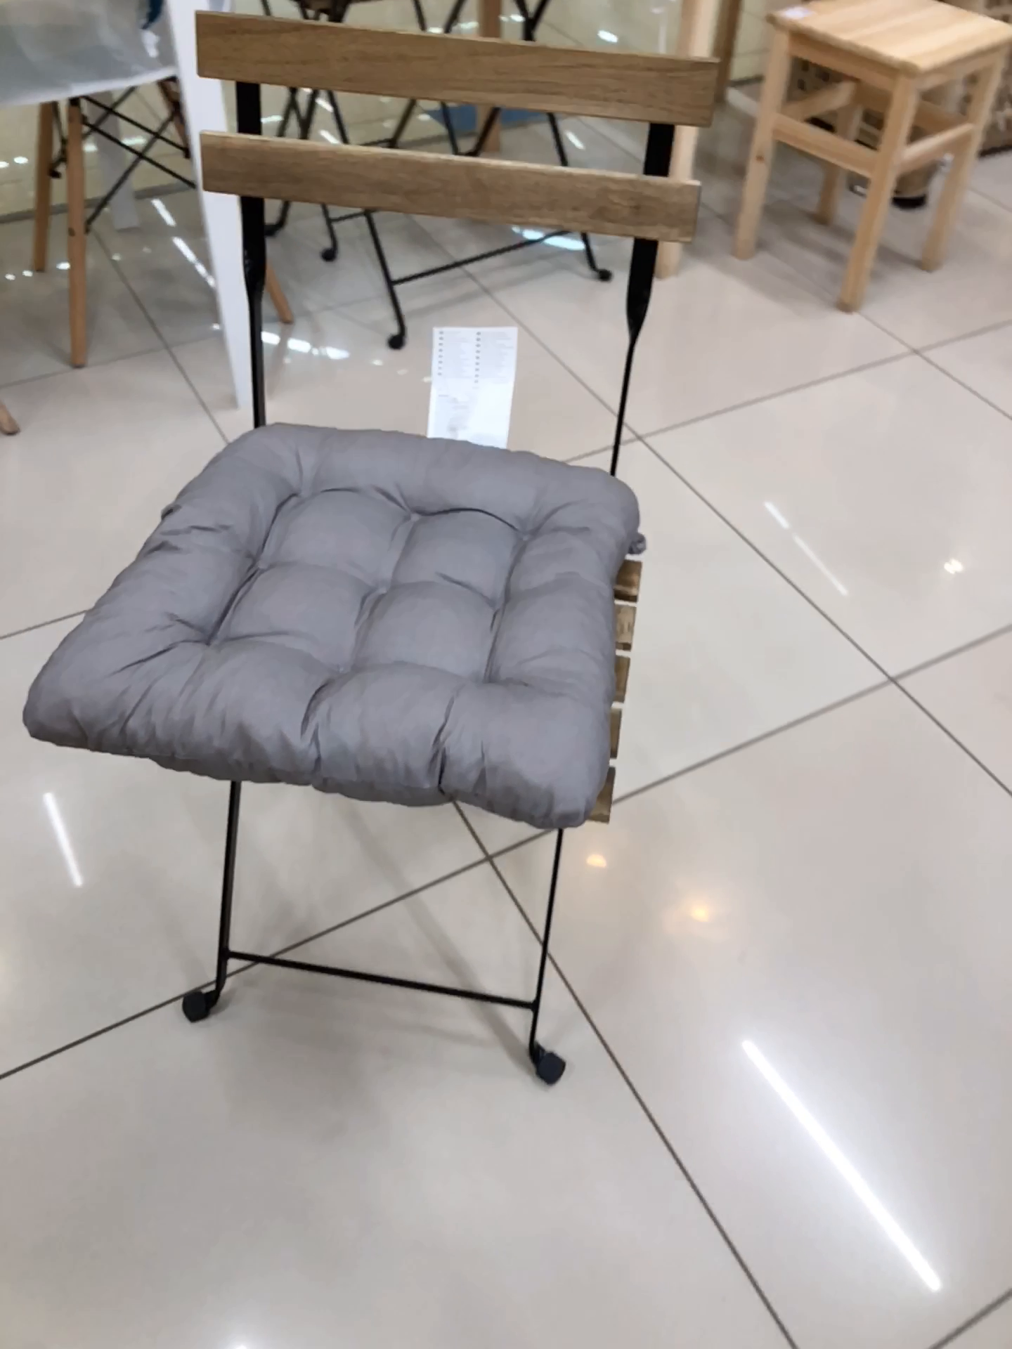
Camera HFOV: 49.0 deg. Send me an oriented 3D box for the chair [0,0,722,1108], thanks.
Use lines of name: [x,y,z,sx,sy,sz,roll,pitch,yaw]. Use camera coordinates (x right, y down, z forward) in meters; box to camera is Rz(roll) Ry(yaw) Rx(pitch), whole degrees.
chair: [-0.114,-0.055,0.898,0.440,0.764,0.443,7,47,5]
